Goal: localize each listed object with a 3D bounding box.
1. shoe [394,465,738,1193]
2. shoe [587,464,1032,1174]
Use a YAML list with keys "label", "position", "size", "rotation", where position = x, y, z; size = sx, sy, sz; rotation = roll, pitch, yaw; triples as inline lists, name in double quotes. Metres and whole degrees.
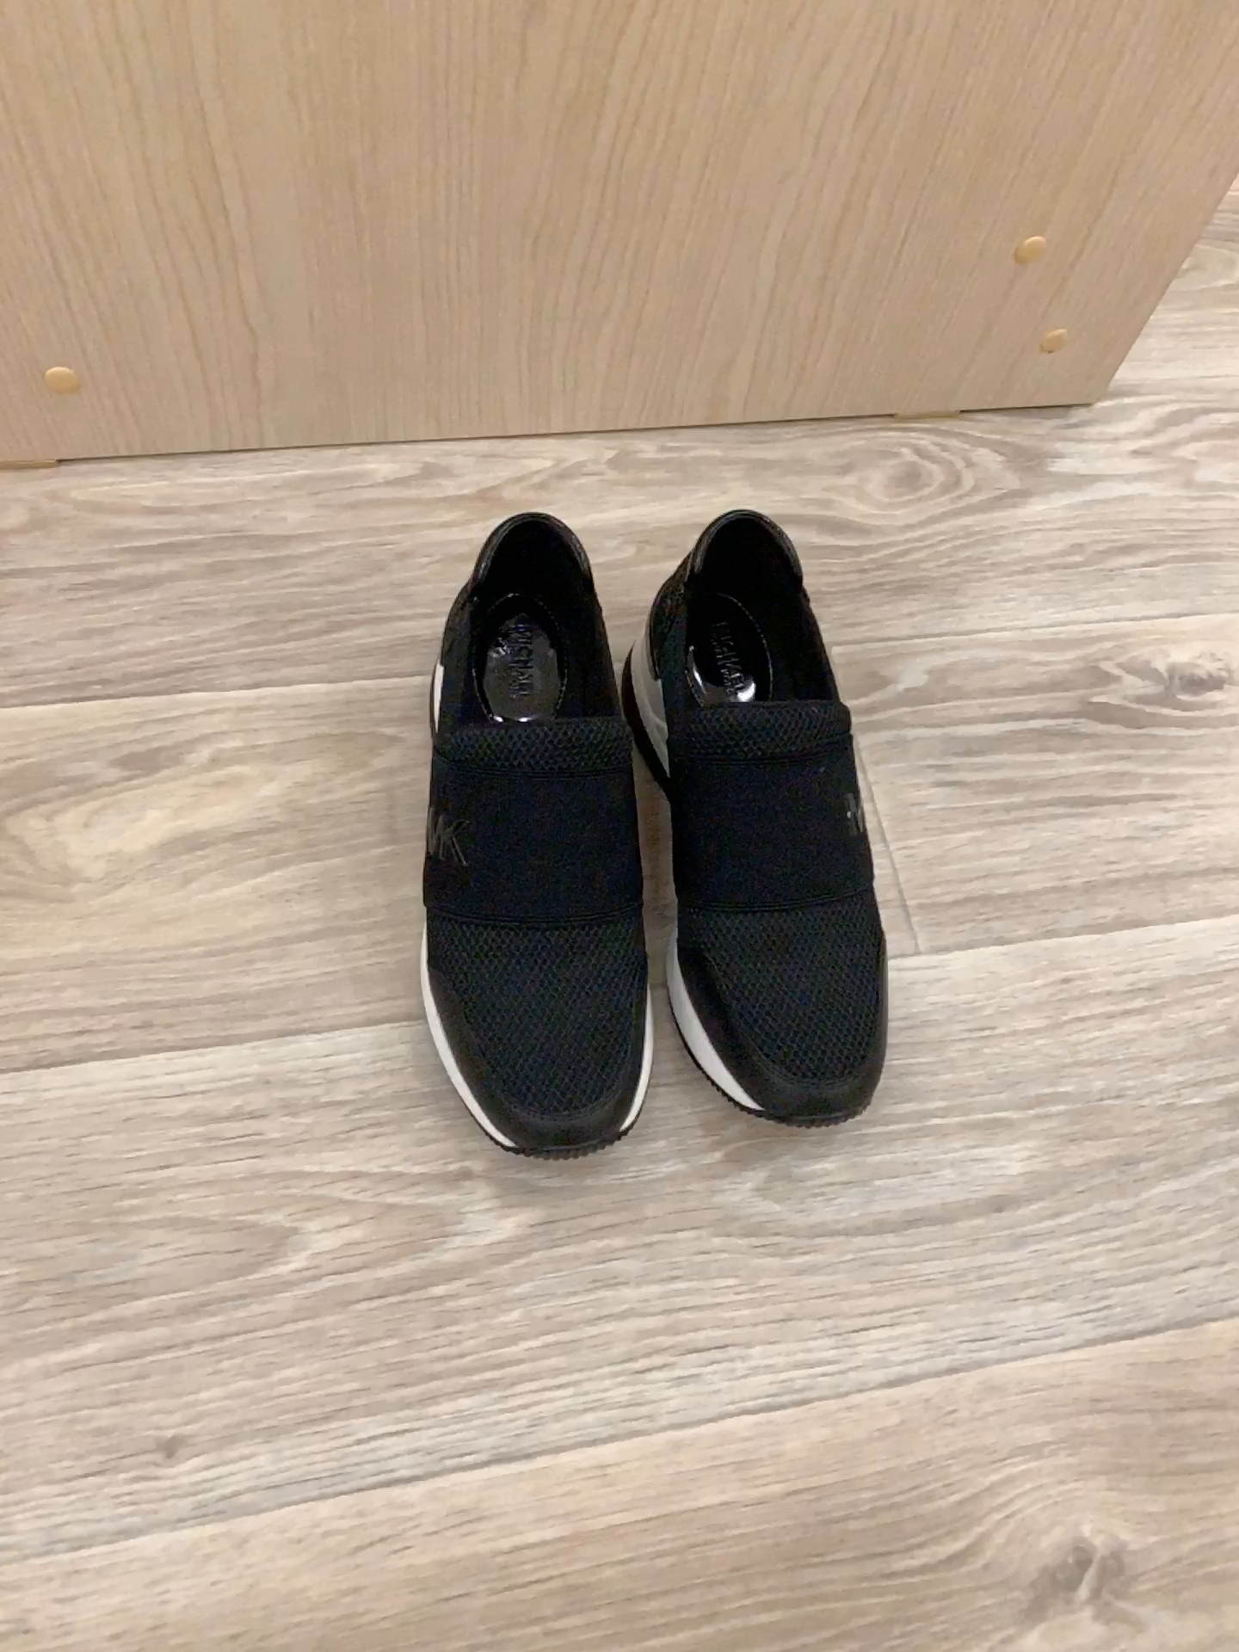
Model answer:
- label: "shoe"
  position: [-0.033, -0.003, 0.507]
  size: [0.098, 0.120, 0.261]
  rotation: [-3, 63, -9]
- label: "shoe"
  position: [0.061, -0.007, 0.526]
  size: [0.098, 0.120, 0.261]
  rotation: [-6, 64, -11]
